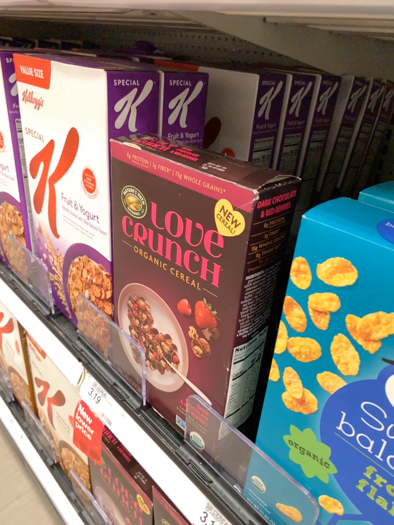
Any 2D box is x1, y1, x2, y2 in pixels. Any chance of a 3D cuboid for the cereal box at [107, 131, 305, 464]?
[{"bbox_3d":[-0.011,0.028,0.364,0.050,0.249,0.160,-21,37,-40],"label":"cereal box"}]
